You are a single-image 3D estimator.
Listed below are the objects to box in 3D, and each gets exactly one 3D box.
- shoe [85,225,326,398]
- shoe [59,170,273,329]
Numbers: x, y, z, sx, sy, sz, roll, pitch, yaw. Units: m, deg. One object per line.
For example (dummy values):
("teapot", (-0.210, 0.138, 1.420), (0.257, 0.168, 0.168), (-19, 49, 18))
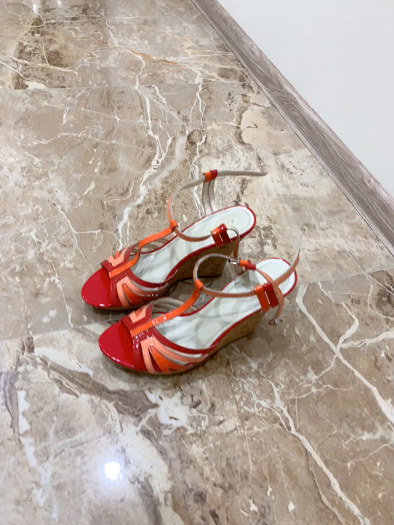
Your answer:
("shoe", (0.004, 0.051, 0.435), (0.217, 0.129, 0.080), (-12, 53, -18))
("shoe", (-0.039, -0.017, 0.493), (0.217, 0.139, 0.084), (-12, 53, -18))
